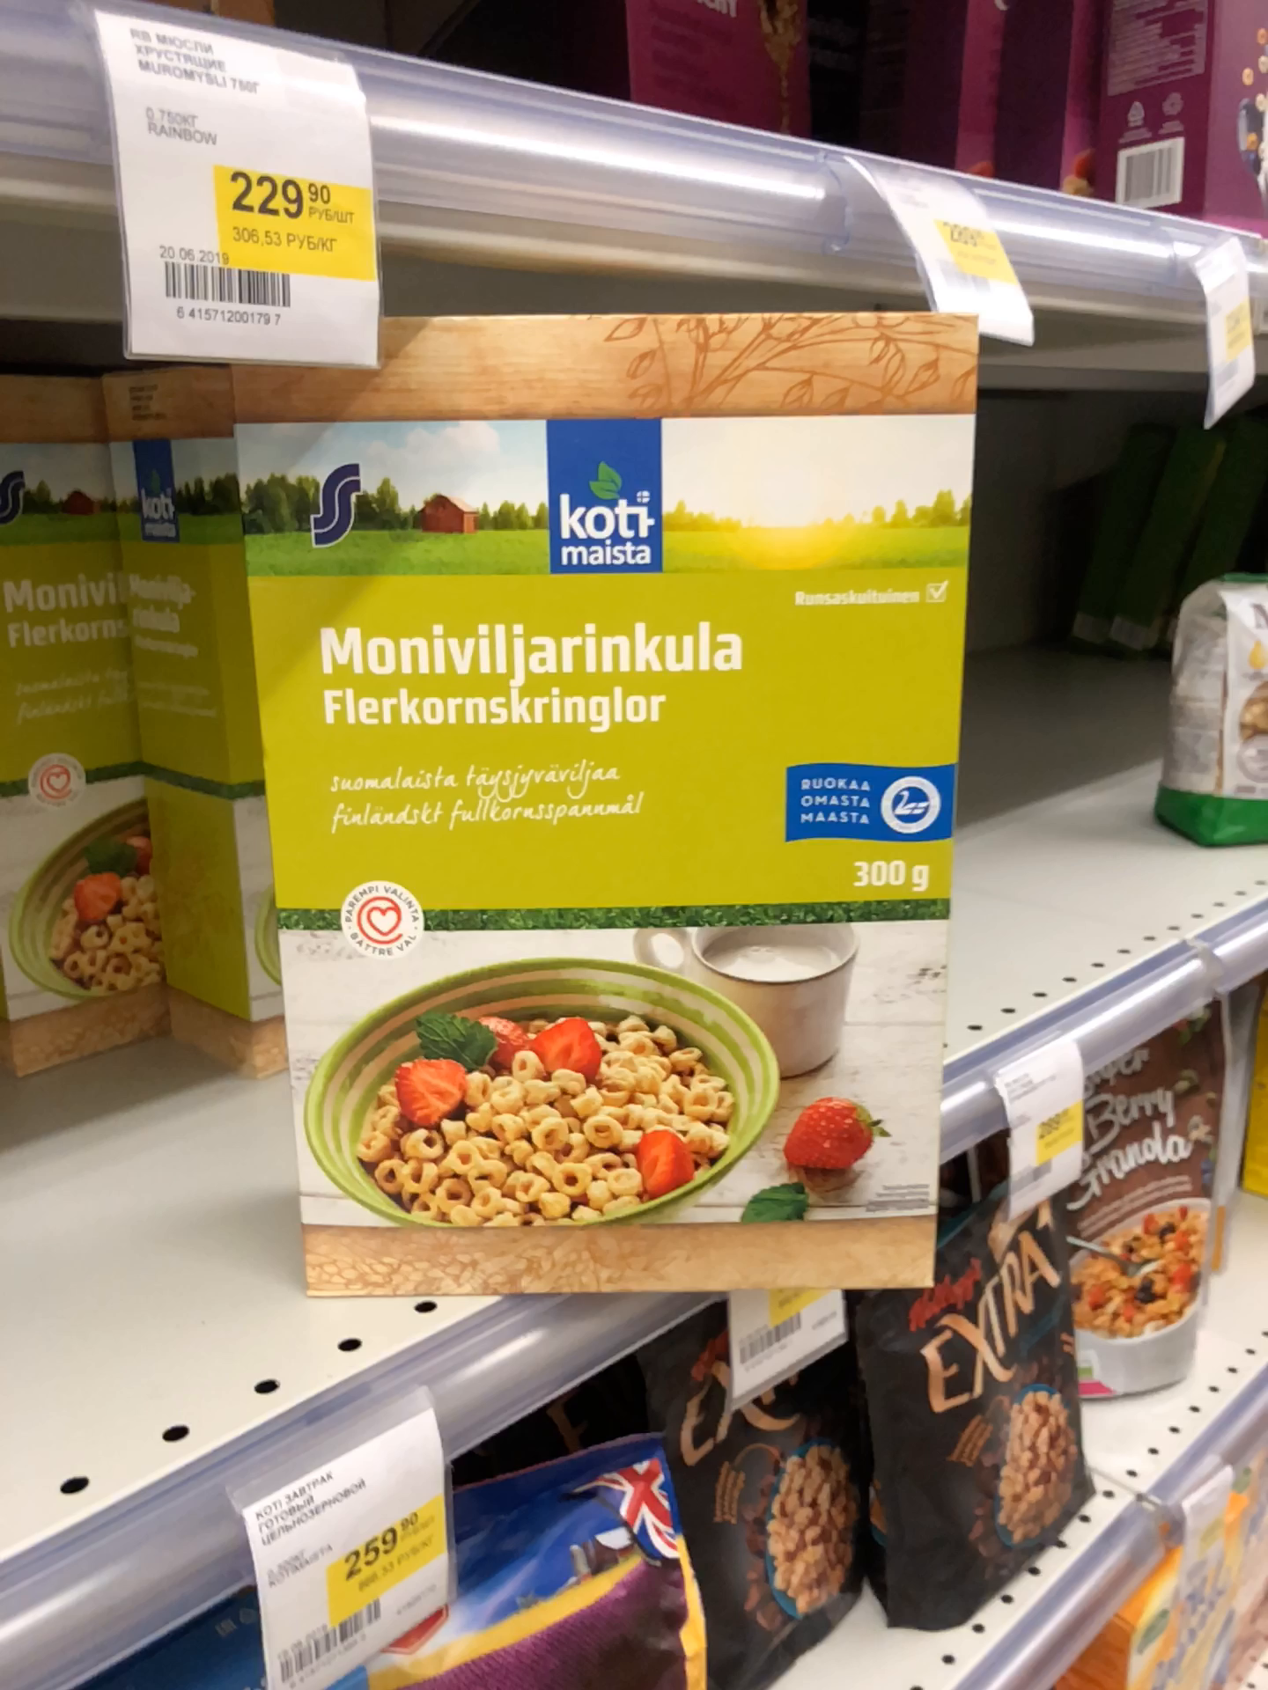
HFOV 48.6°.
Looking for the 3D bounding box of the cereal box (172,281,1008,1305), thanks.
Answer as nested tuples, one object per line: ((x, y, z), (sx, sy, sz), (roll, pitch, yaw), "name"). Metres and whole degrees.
((-0.007, -0.010, 0.385), (0.190, 0.259, 0.070), (-1, 15, 1), "cereal box")
